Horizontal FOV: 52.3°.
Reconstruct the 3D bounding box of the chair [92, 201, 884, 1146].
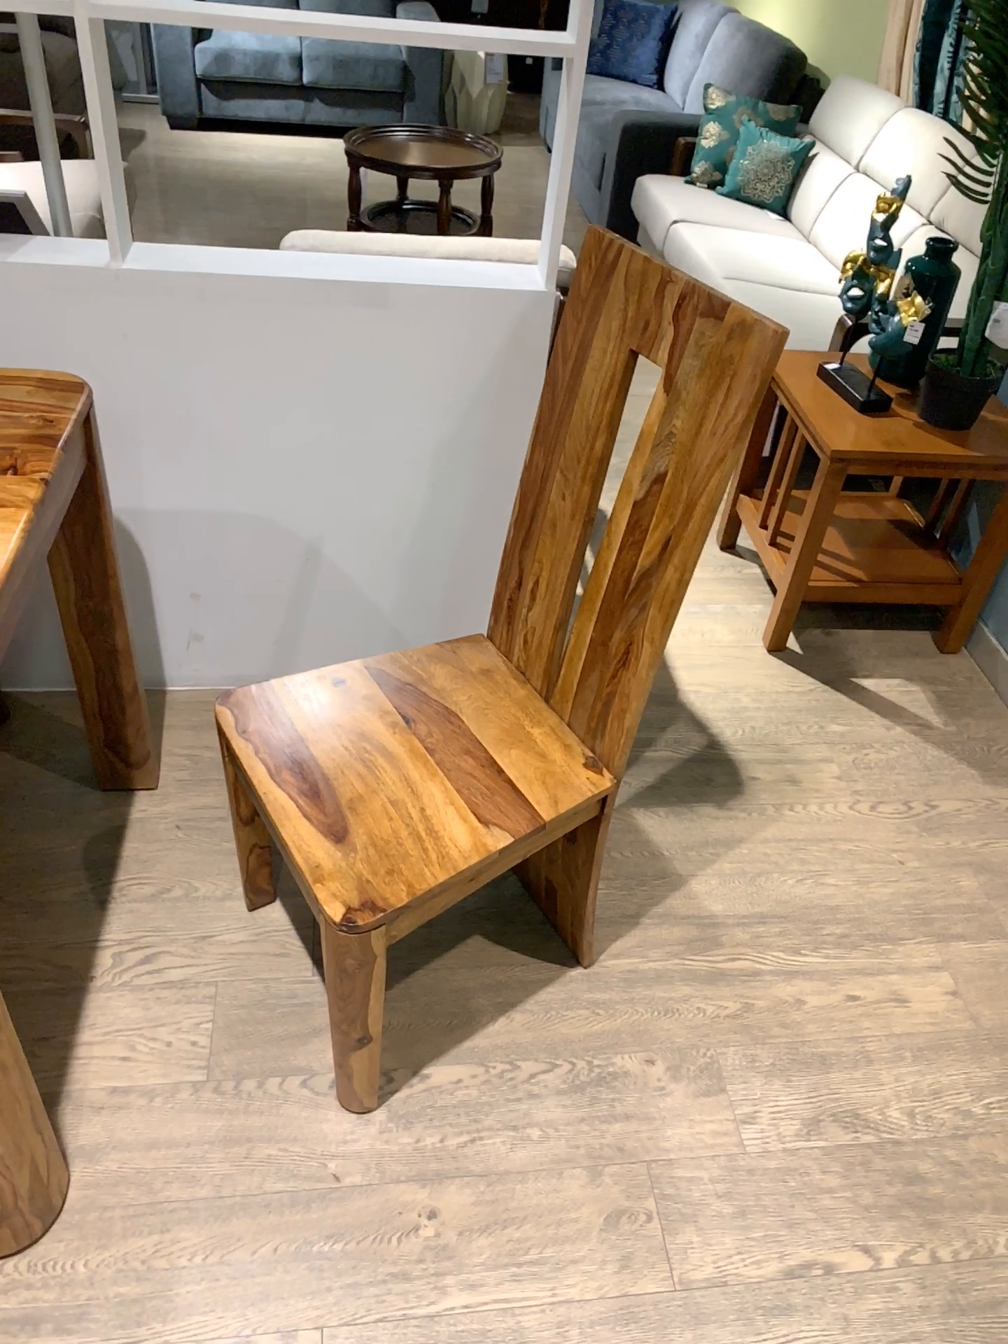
[{"bbox_3d":[-0.063,0.008,1.311,0.601,0.966,0.501,-20,47,-28],"label":"chair"}]
